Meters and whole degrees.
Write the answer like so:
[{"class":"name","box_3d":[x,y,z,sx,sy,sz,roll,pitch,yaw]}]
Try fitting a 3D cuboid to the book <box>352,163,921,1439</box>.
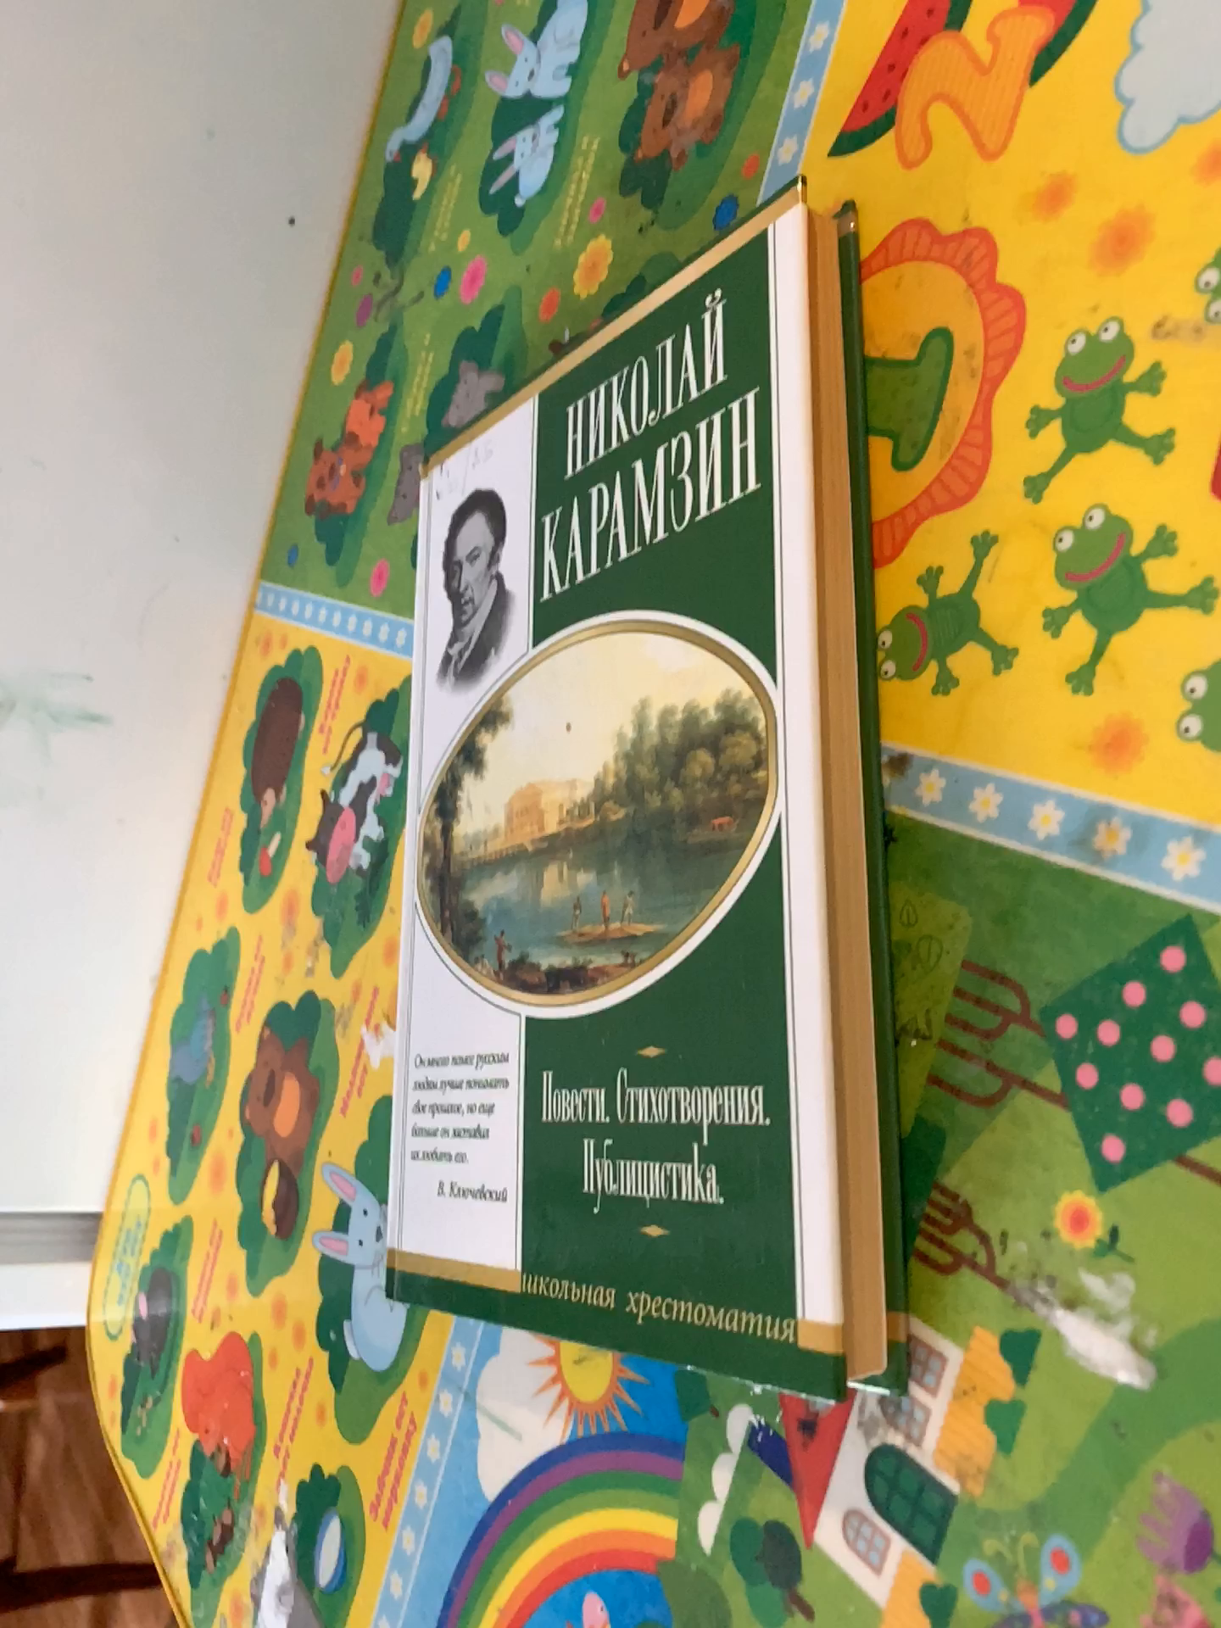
[{"class":"book","box_3d":[-0.005,0.000,0.248,0.137,0.020,0.197,-16,69,50]}]
